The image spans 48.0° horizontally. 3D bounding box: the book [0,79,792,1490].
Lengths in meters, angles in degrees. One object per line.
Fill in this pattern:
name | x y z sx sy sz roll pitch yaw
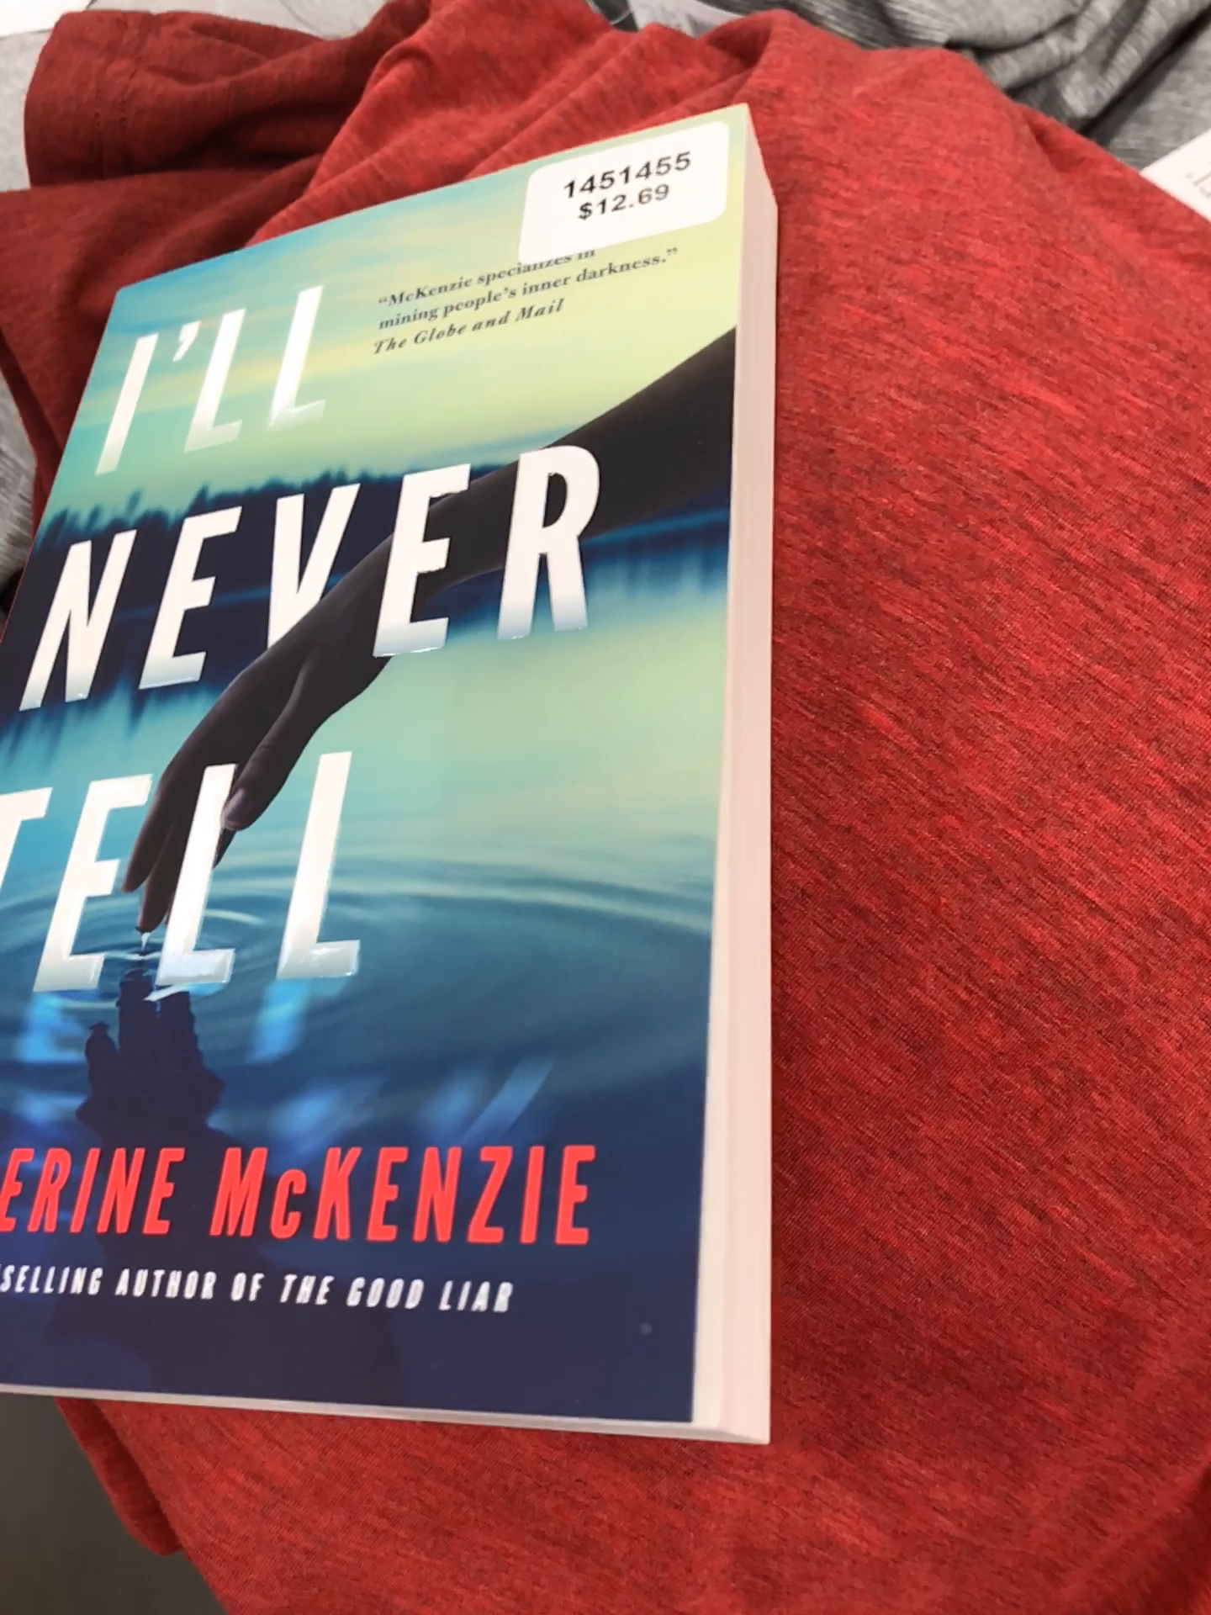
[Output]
book | -0.046 -0.014 0.217 0.144 0.032 0.208 -6 61 21
